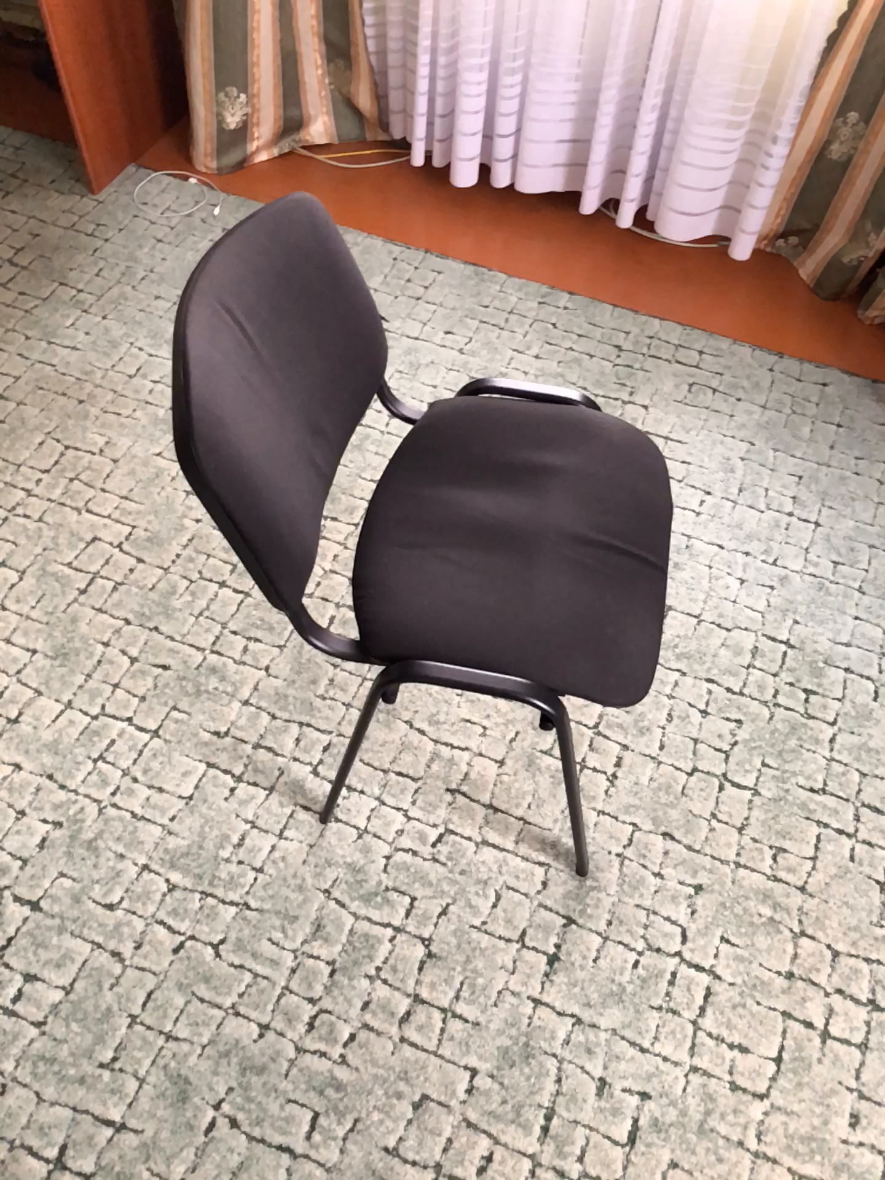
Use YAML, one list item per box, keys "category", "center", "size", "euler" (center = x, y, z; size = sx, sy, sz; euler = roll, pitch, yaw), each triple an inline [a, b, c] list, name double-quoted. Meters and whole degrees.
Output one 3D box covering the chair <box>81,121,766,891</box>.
- category: "chair"
  center: [0.015, -0.066, 1.318]
  size: [0.600, 0.785, 0.584]
  euler: [10, 54, 5]
